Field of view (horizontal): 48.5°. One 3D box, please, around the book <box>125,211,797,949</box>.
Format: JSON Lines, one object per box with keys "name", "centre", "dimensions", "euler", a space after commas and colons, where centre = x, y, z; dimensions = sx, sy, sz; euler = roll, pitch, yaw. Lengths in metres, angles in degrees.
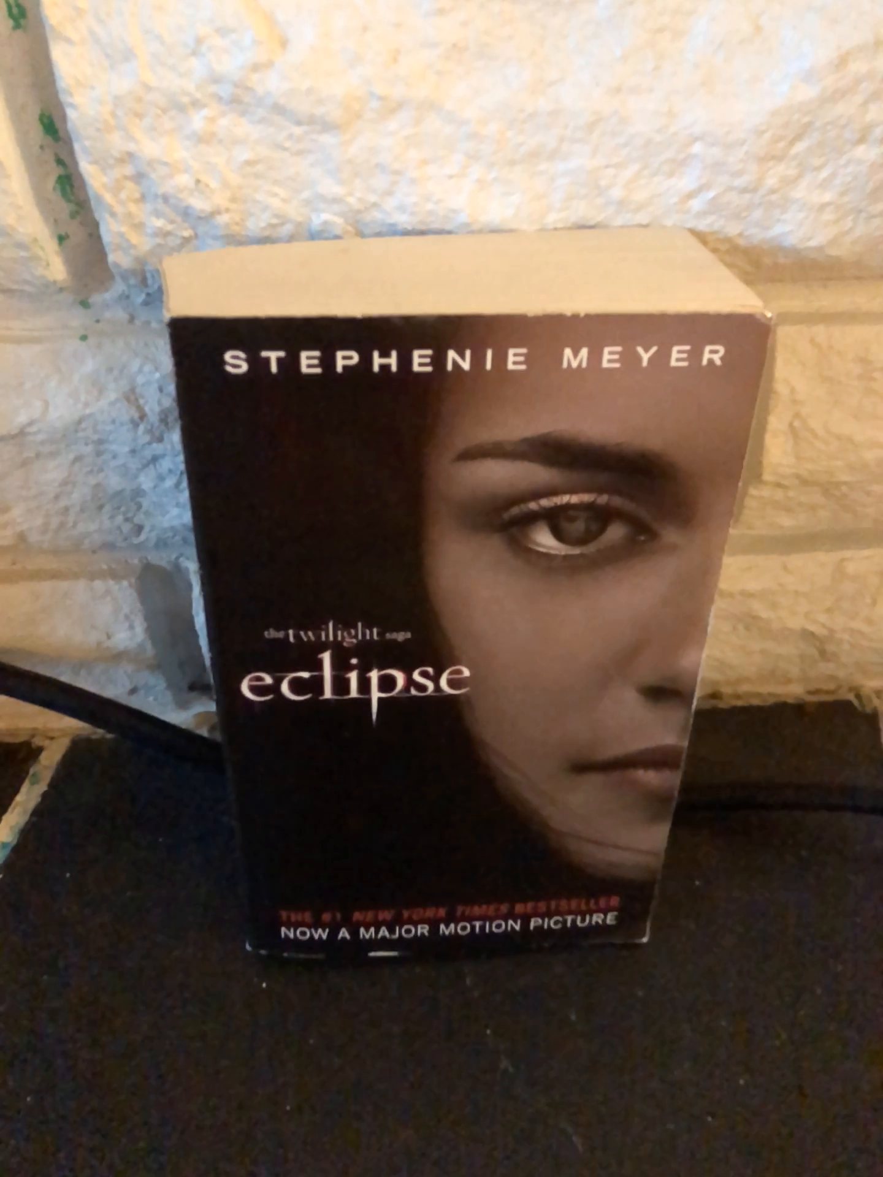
{"name": "book", "centre": [0.003, 0.012, 0.226], "dimensions": [0.106, 0.181, 0.042], "euler": [0, 37, 0]}
